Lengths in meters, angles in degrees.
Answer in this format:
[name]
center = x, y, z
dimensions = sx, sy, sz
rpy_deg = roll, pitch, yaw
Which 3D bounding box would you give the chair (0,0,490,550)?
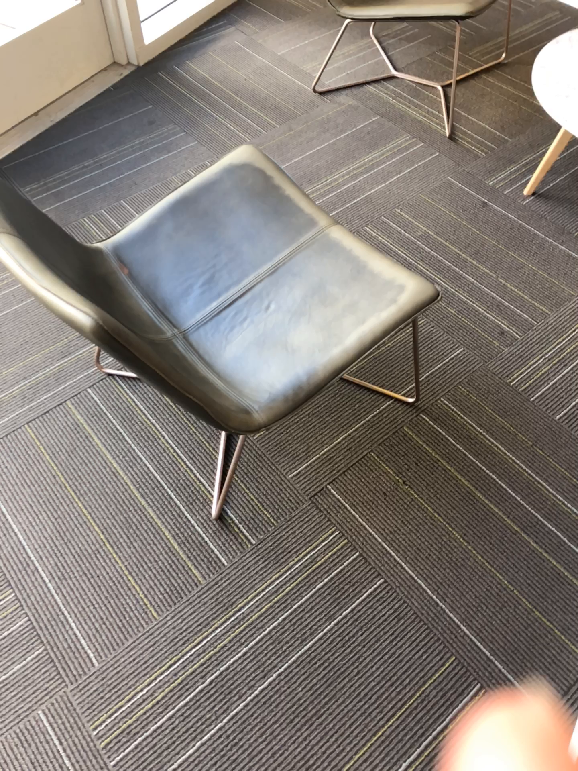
[chair]
center = -0.132, -0.252, 1.340
dimensions = 0.650, 0.877, 0.672
rpy_deg = -36, 60, -16
